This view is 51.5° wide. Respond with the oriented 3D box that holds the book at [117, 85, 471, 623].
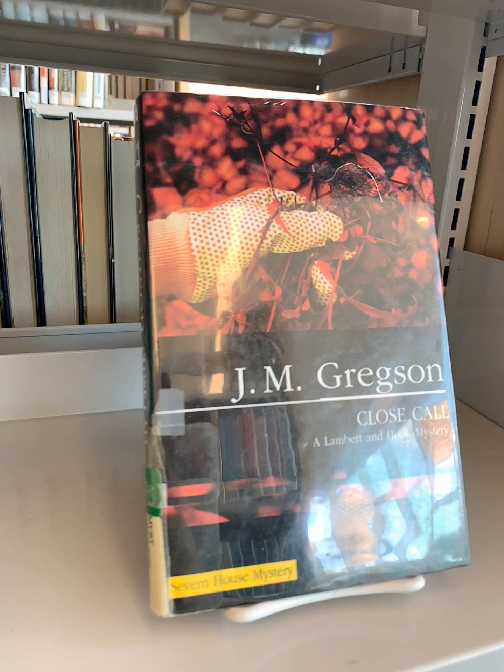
[{"bbox_3d":[0.016,0.000,0.232,0.140,0.208,0.030,-2,-6,-14],"label":"book"}]
